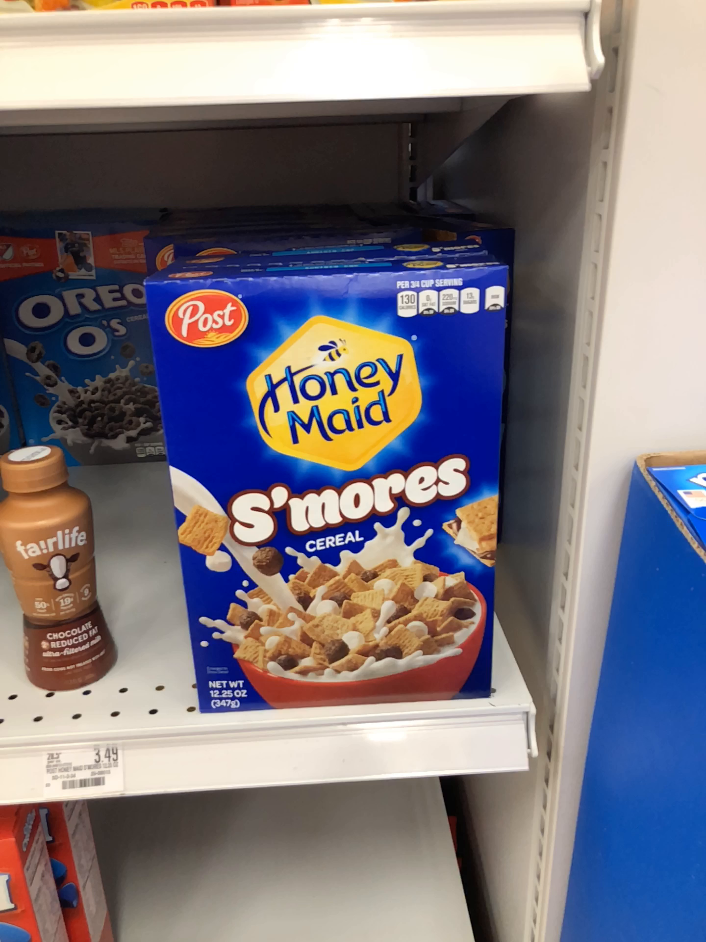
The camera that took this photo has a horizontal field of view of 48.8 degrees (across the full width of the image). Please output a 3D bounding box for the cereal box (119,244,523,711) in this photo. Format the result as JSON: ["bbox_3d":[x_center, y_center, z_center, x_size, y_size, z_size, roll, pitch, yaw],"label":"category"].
[{"bbox_3d":[-0.013,0.010,0.472,0.200,0.269,0.070,-3,24,-1],"label":"cereal box"}]
